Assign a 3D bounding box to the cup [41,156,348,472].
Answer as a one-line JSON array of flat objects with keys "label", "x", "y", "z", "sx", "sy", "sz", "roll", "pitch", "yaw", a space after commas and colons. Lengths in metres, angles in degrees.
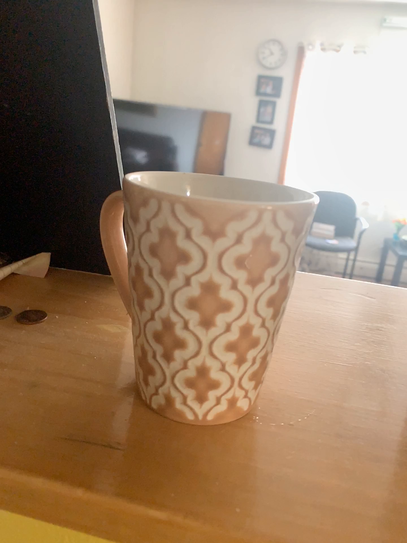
[{"label": "cup", "x": -0.011, "y": 0.003, "z": 0.223, "sx": 0.120, "sy": 0.109, "sz": 0.090, "roll": 21, "pitch": 24, "yaw": 37}]
